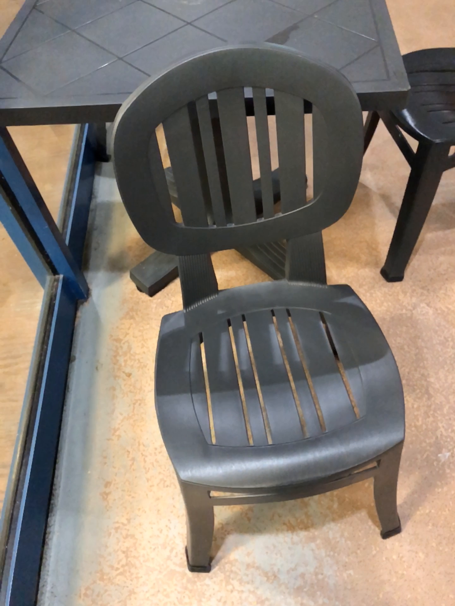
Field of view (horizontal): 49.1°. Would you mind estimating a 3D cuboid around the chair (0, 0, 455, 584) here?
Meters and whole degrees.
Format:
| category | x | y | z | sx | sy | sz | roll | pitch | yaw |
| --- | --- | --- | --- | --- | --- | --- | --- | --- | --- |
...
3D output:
| category | x | y | z | sx | sy | sz | roll | pitch | yaw |
| --- | --- | --- | --- | --- | --- | --- | --- | --- | --- |
| chair | 0.070 | 0.039 | 0.776 | 0.500 | 0.736 | 0.553 | -9 | 54 | -1 |
